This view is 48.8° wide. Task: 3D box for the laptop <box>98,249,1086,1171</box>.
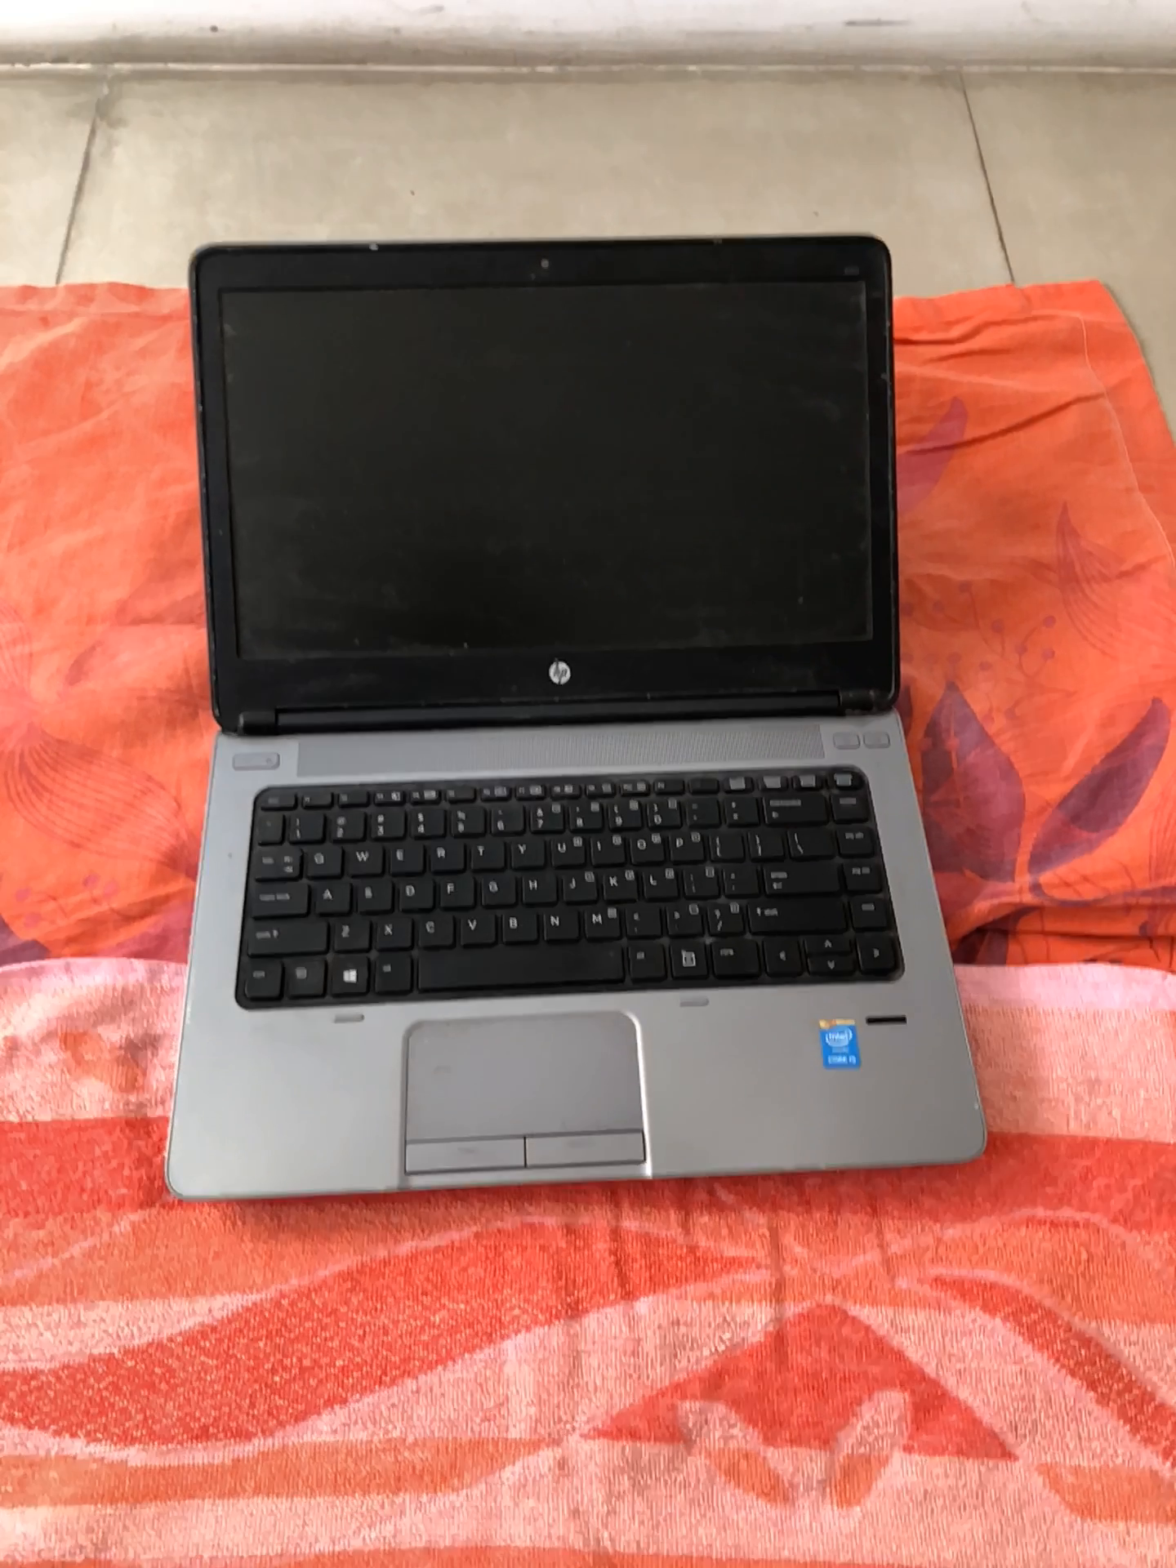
[{"bbox_3d":[-0.005,-0.053,0.578,0.328,0.111,0.411,-1,62,-3],"label":"laptop"}]
